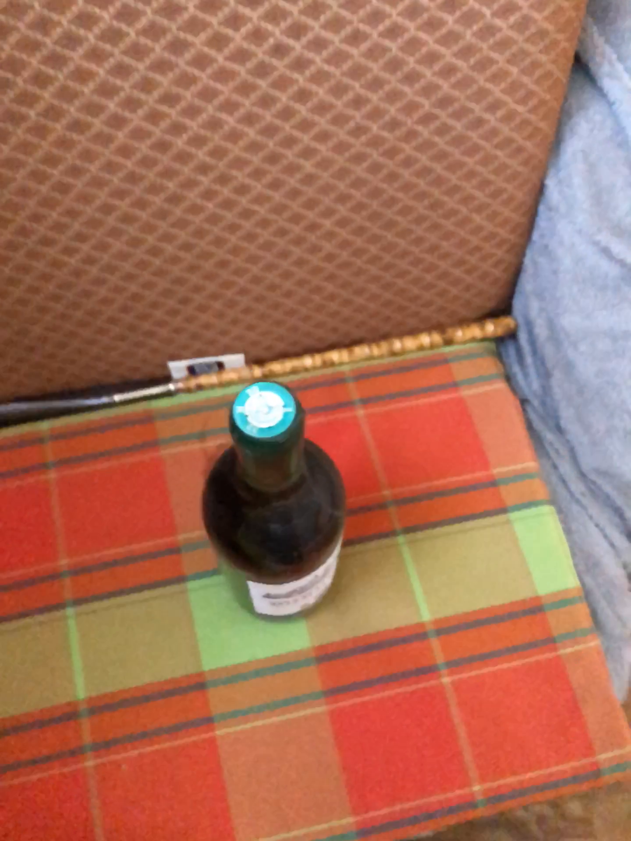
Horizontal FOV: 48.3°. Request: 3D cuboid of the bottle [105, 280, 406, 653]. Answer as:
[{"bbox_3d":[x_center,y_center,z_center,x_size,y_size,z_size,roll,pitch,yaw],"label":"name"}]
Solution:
[{"bbox_3d":[-0.024,0.051,0.384,0.080,0.269,0.080,0,65,-1],"label":"bottle"}]
